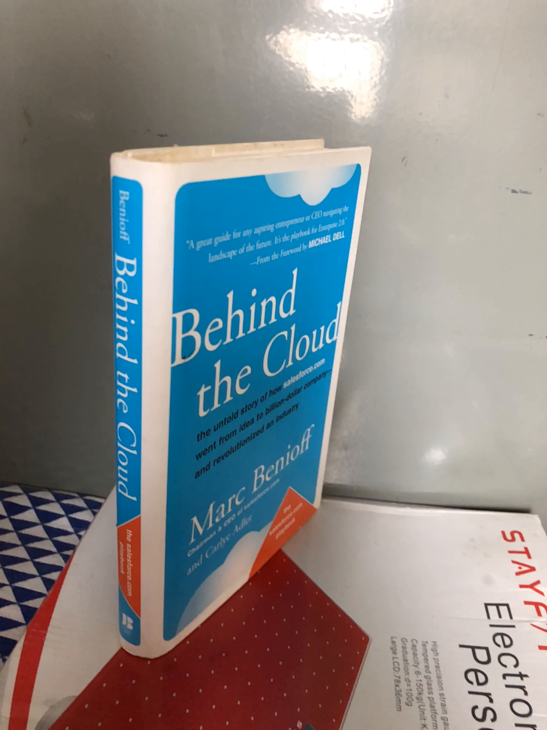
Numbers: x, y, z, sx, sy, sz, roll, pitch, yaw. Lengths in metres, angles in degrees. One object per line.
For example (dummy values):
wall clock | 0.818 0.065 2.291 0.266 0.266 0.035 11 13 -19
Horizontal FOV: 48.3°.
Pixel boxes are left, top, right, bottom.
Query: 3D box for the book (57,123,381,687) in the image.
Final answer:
book | -0.016 0.005 0.322 0.040 0.239 0.191 17 25 28
